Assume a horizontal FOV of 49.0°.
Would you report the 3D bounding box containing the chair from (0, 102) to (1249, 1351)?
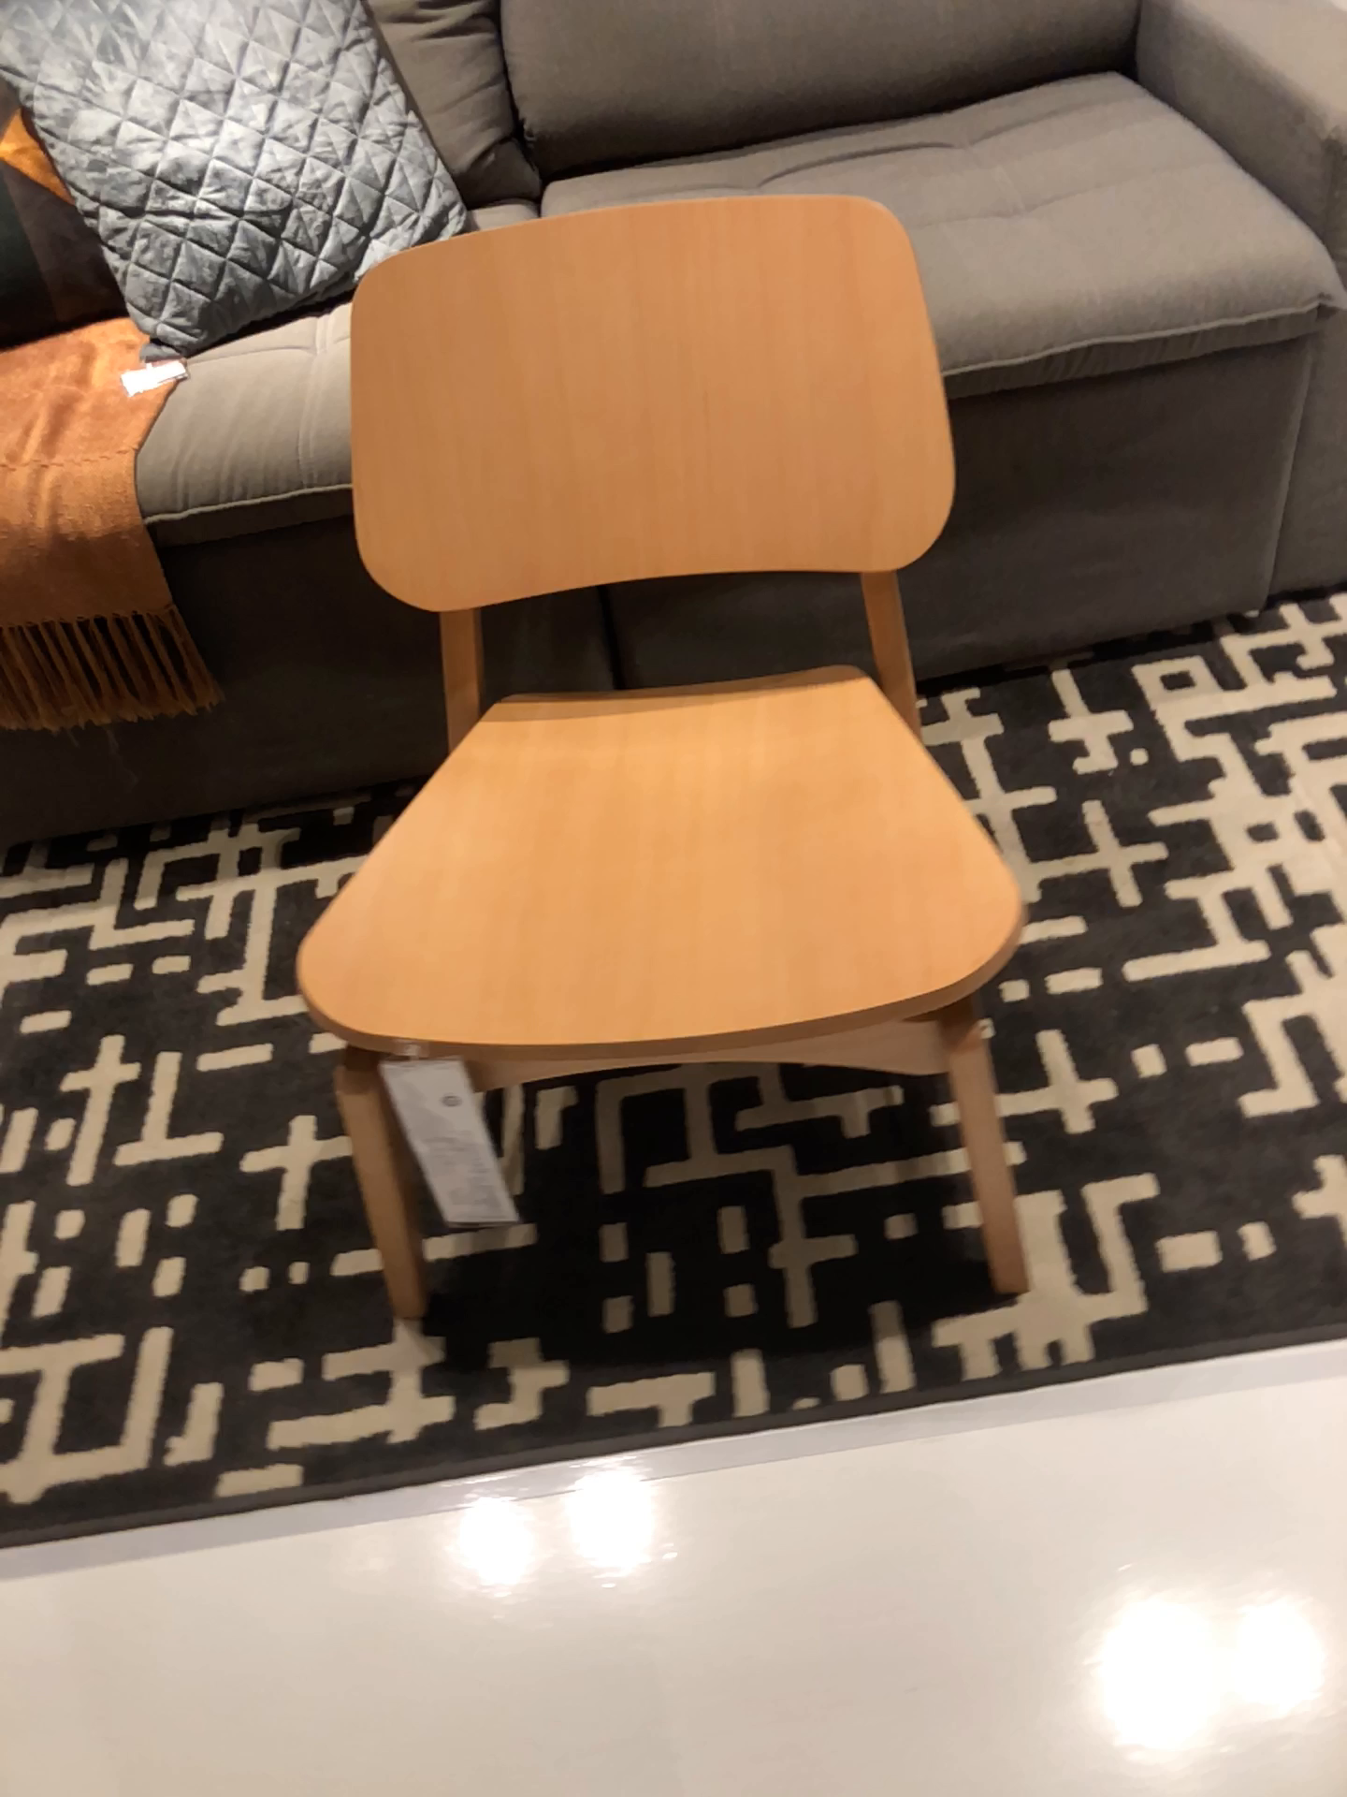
[{"bbox_3d":[-0.016,-0.121,1.142,0.640,0.625,0.655,-5,45,6],"label":"chair"}]
